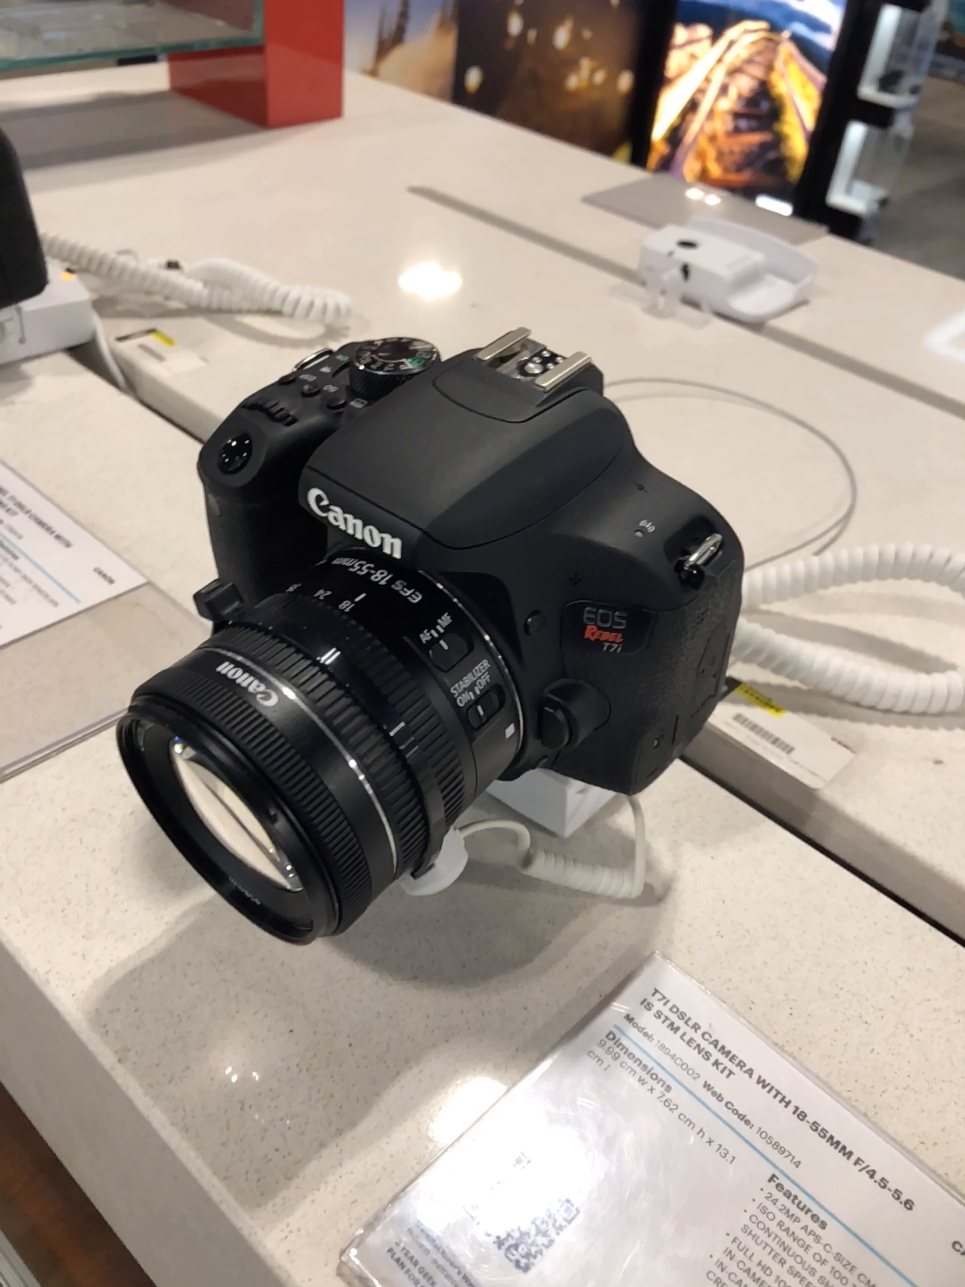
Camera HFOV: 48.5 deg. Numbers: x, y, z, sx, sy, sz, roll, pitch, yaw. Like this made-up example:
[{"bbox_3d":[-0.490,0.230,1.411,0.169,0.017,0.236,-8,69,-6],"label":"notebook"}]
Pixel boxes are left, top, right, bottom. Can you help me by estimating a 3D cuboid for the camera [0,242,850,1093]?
[{"bbox_3d":[-0.020,-0.011,0.253,0.140,0.099,0.131,30,45,27],"label":"camera"}]
